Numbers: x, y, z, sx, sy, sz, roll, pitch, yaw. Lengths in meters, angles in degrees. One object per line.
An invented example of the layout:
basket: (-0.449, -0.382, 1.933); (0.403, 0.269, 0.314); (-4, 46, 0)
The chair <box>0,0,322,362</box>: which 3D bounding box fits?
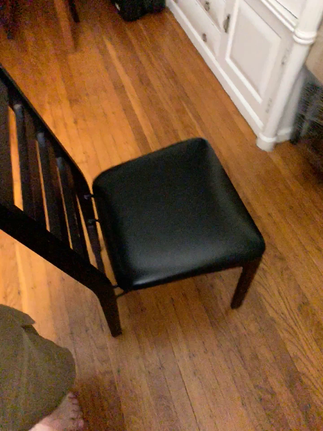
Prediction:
chair: (-0.006, -0.056, 0.823); (0.550, 0.867, 0.492); (-17, 59, -10)
